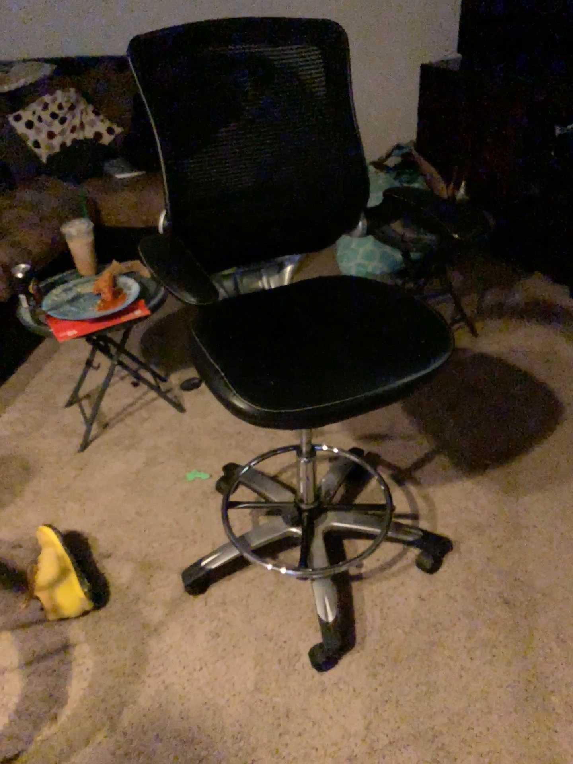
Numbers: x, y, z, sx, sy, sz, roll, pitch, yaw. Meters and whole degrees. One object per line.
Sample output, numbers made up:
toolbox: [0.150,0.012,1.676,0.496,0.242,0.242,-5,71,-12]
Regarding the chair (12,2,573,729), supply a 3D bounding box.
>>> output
chair: [-0.005,-0.108,1.437,0.760,1.170,0.930,-17,38,-18]
